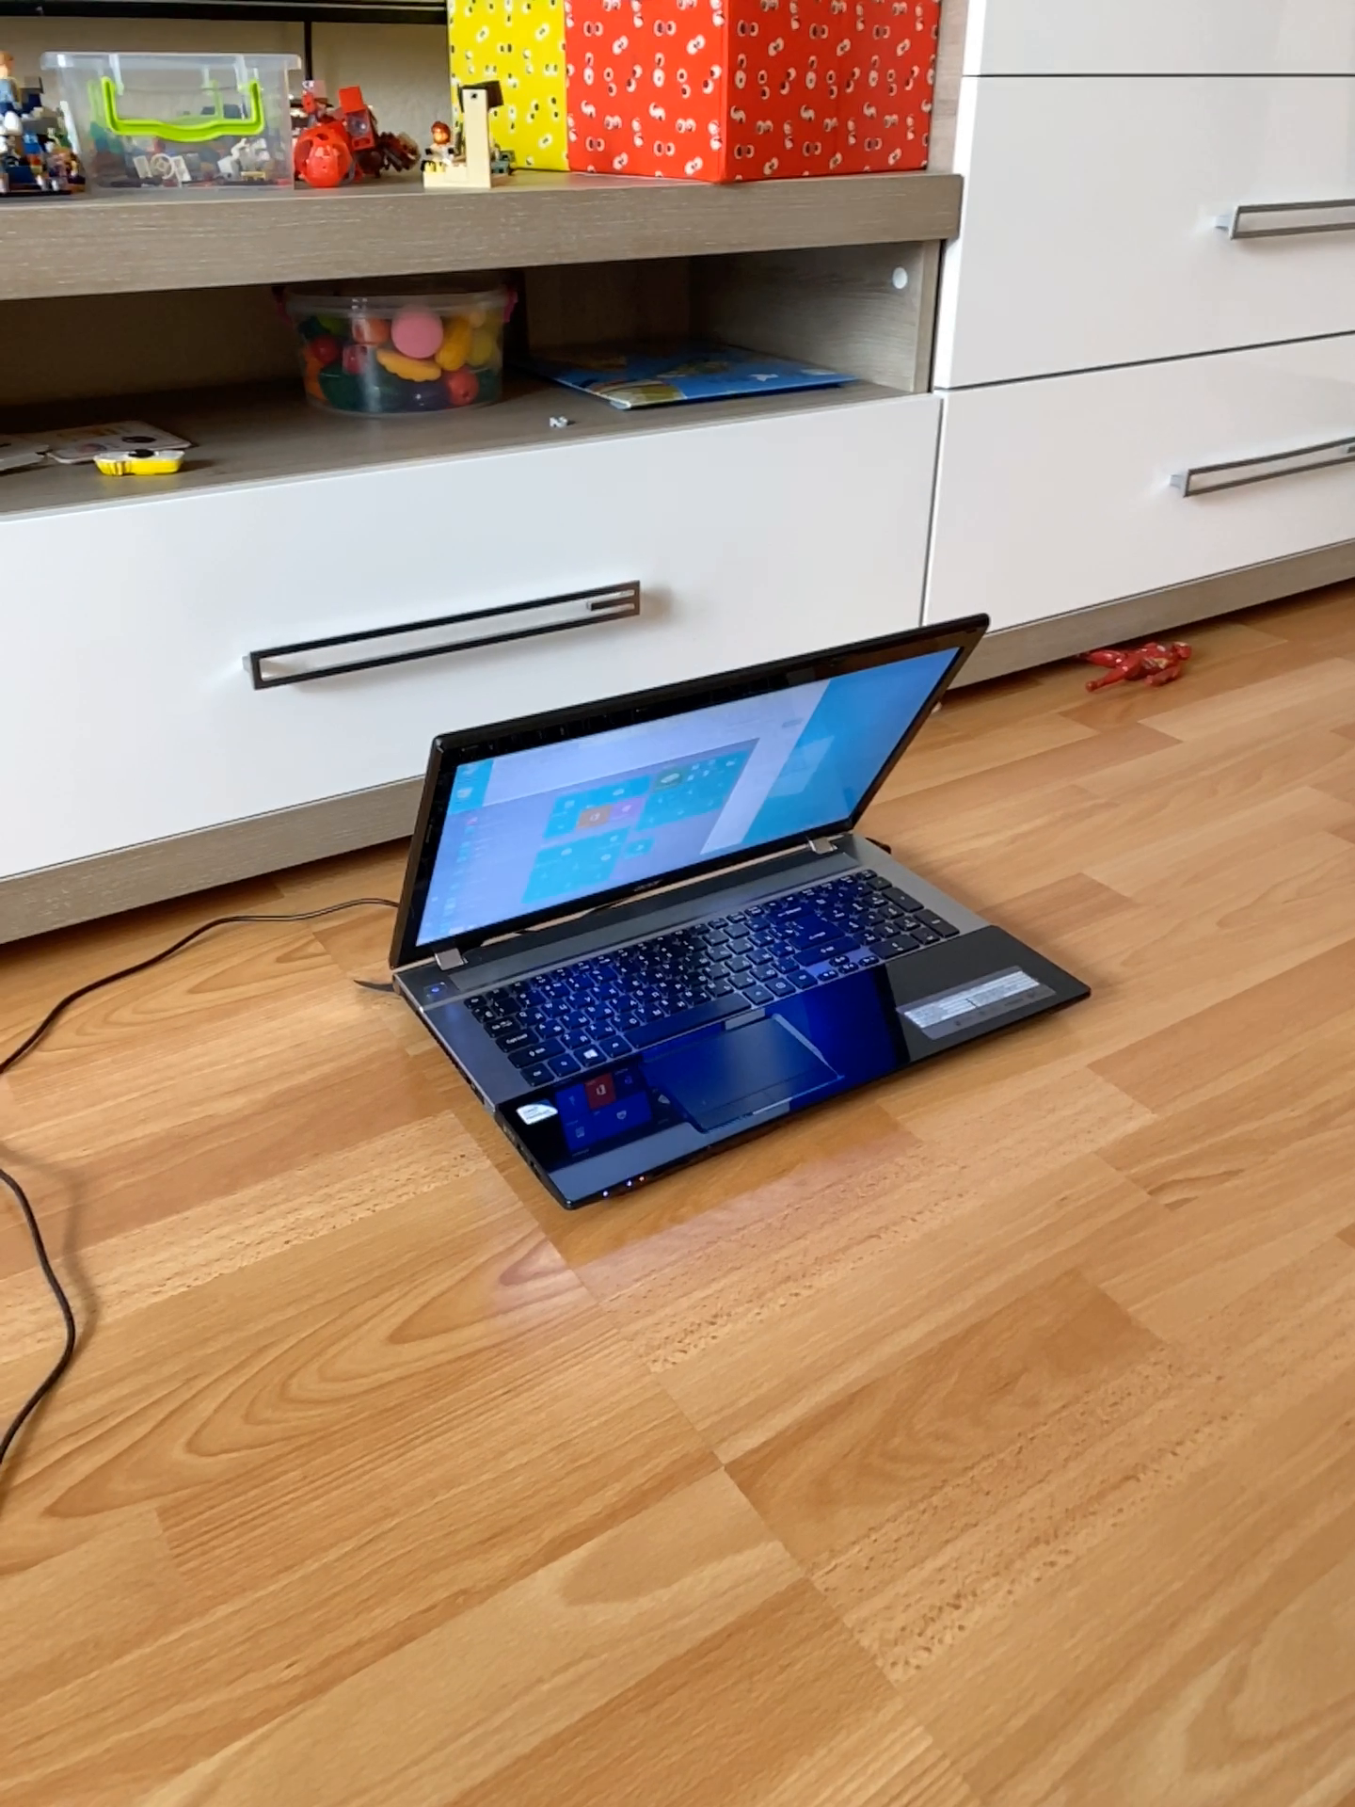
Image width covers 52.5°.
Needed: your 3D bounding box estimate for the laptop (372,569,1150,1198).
[{"bbox_3d":[0.049,-0.045,0.919,0.412,0.233,0.269,-16,33,-26],"label":"laptop"}]
